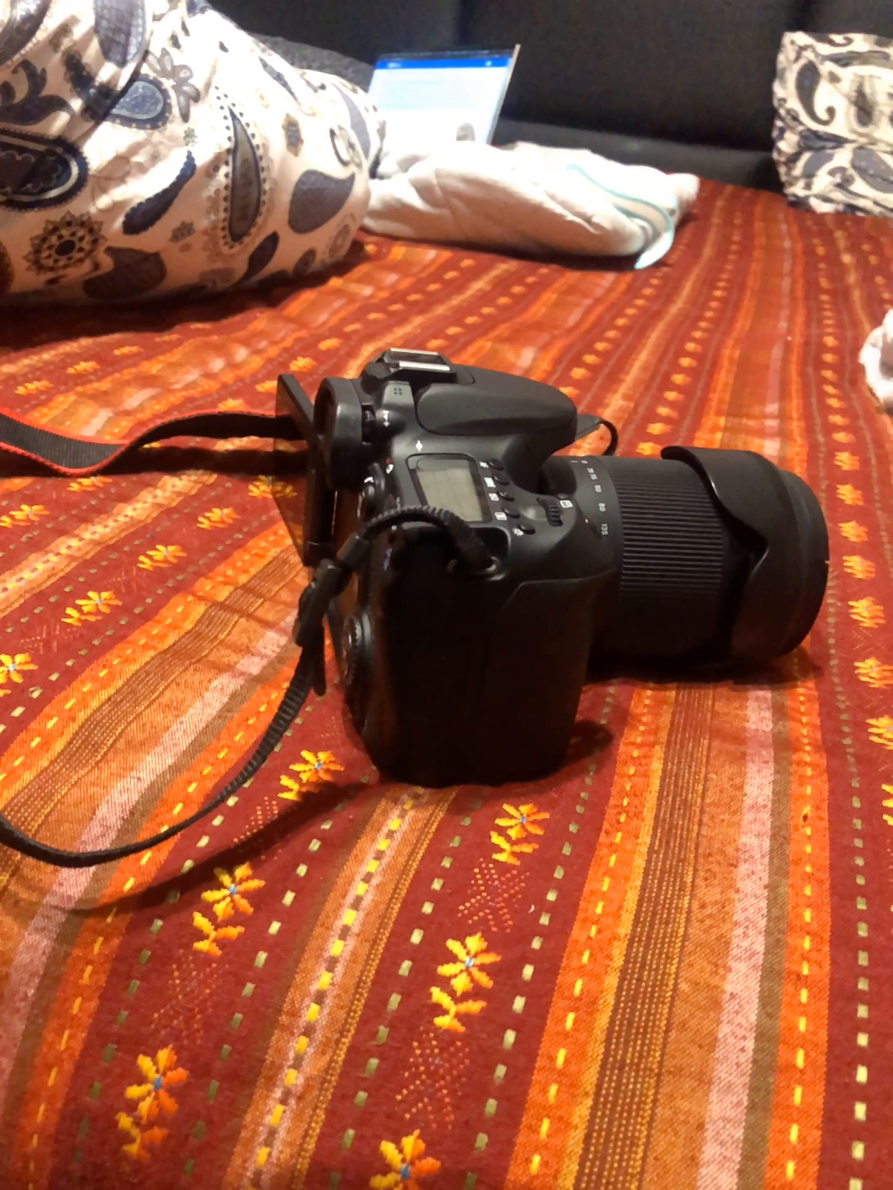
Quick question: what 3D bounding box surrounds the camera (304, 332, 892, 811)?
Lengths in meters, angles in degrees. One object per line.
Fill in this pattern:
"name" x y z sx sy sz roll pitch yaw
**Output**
"camera" 0.049 -0.020 0.337 0.170 0.099 0.131 -4 32 -18
